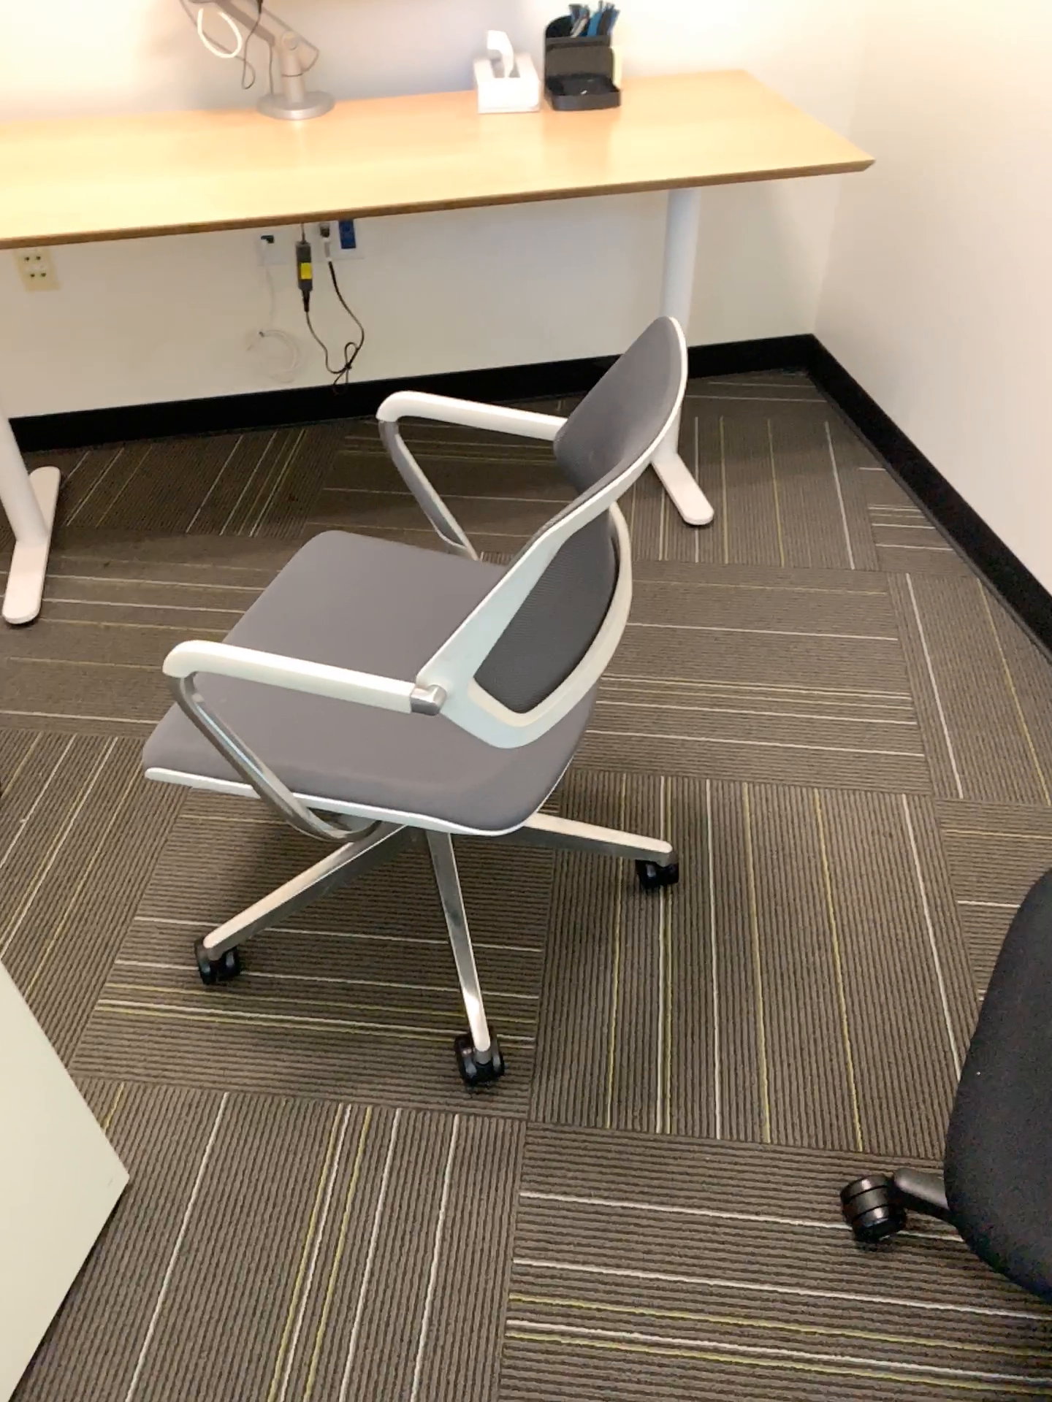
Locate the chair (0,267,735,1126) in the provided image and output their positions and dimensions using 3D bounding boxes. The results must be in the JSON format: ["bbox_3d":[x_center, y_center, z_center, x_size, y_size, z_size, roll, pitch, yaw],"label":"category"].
[{"bbox_3d":[-0.129,-0.009,1.172,0.590,0.666,0.553,8,44,8],"label":"chair"}]
